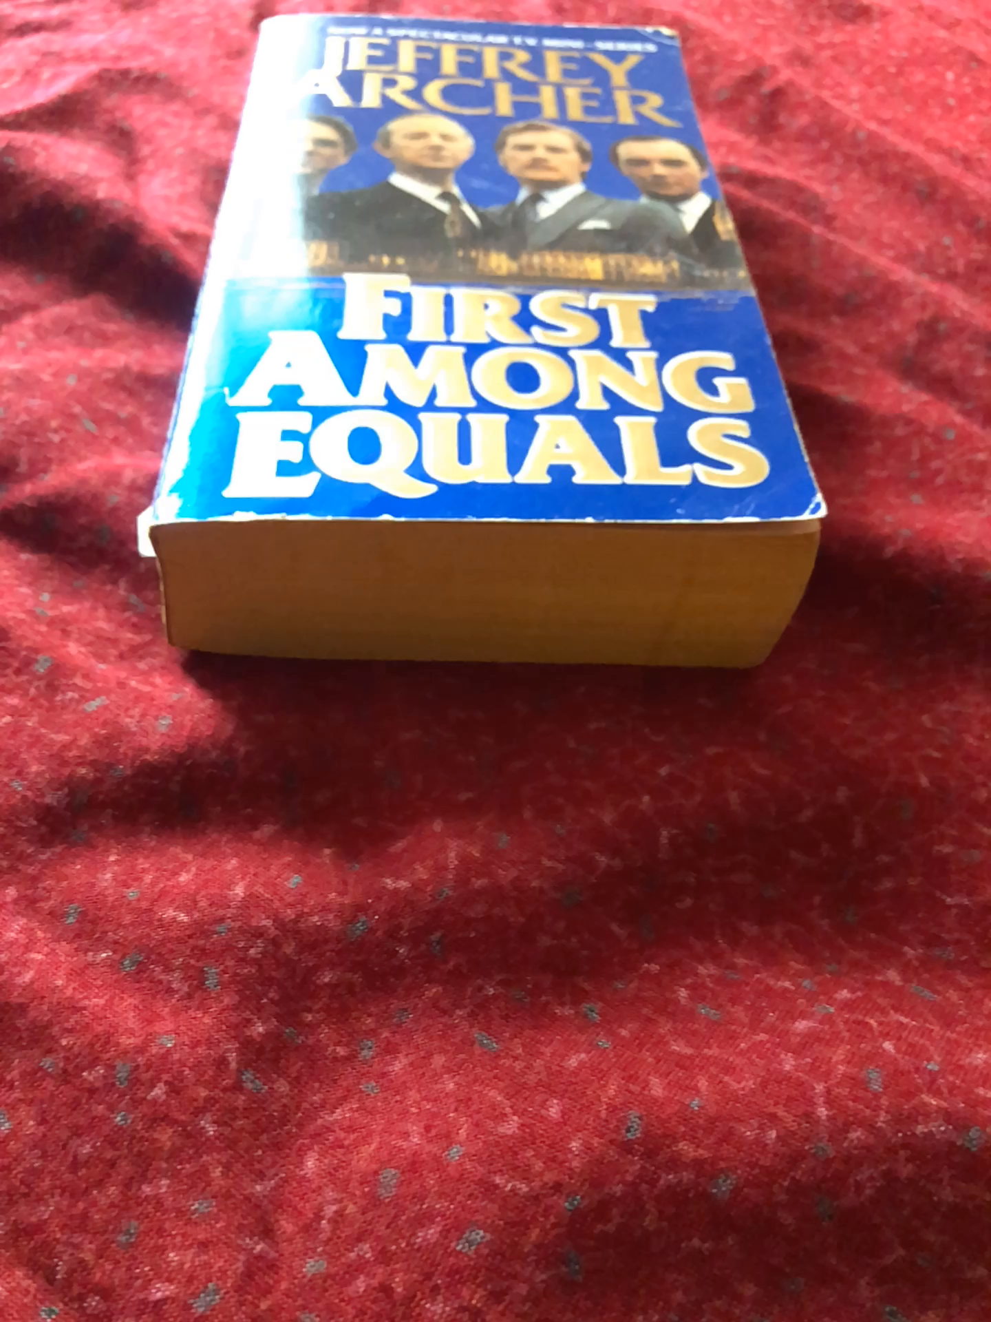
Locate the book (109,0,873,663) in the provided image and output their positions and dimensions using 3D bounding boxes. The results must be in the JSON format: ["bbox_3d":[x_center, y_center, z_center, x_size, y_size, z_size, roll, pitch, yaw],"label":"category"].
[{"bbox_3d":[-0.004,-0.082,0.231,0.110,0.038,0.177,1,52,-5],"label":"book"}]
